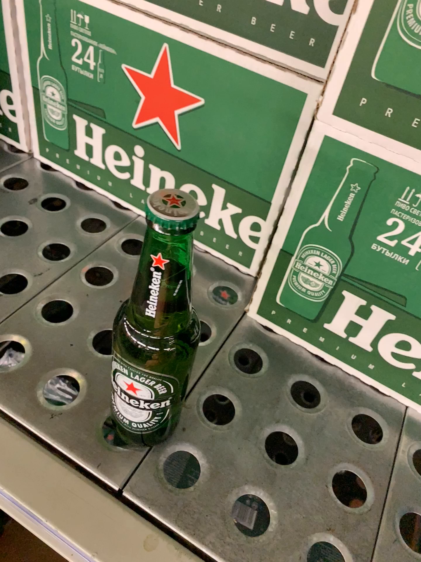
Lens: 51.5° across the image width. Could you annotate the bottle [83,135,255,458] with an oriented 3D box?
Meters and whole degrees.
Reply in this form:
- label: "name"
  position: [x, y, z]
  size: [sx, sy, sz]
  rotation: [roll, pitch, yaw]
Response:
- label: "bottle"
  position: [-0.037, 0.029, 0.289]
  size: [0.060, 0.225, 0.060]
  rotation: [7, 45, -7]
